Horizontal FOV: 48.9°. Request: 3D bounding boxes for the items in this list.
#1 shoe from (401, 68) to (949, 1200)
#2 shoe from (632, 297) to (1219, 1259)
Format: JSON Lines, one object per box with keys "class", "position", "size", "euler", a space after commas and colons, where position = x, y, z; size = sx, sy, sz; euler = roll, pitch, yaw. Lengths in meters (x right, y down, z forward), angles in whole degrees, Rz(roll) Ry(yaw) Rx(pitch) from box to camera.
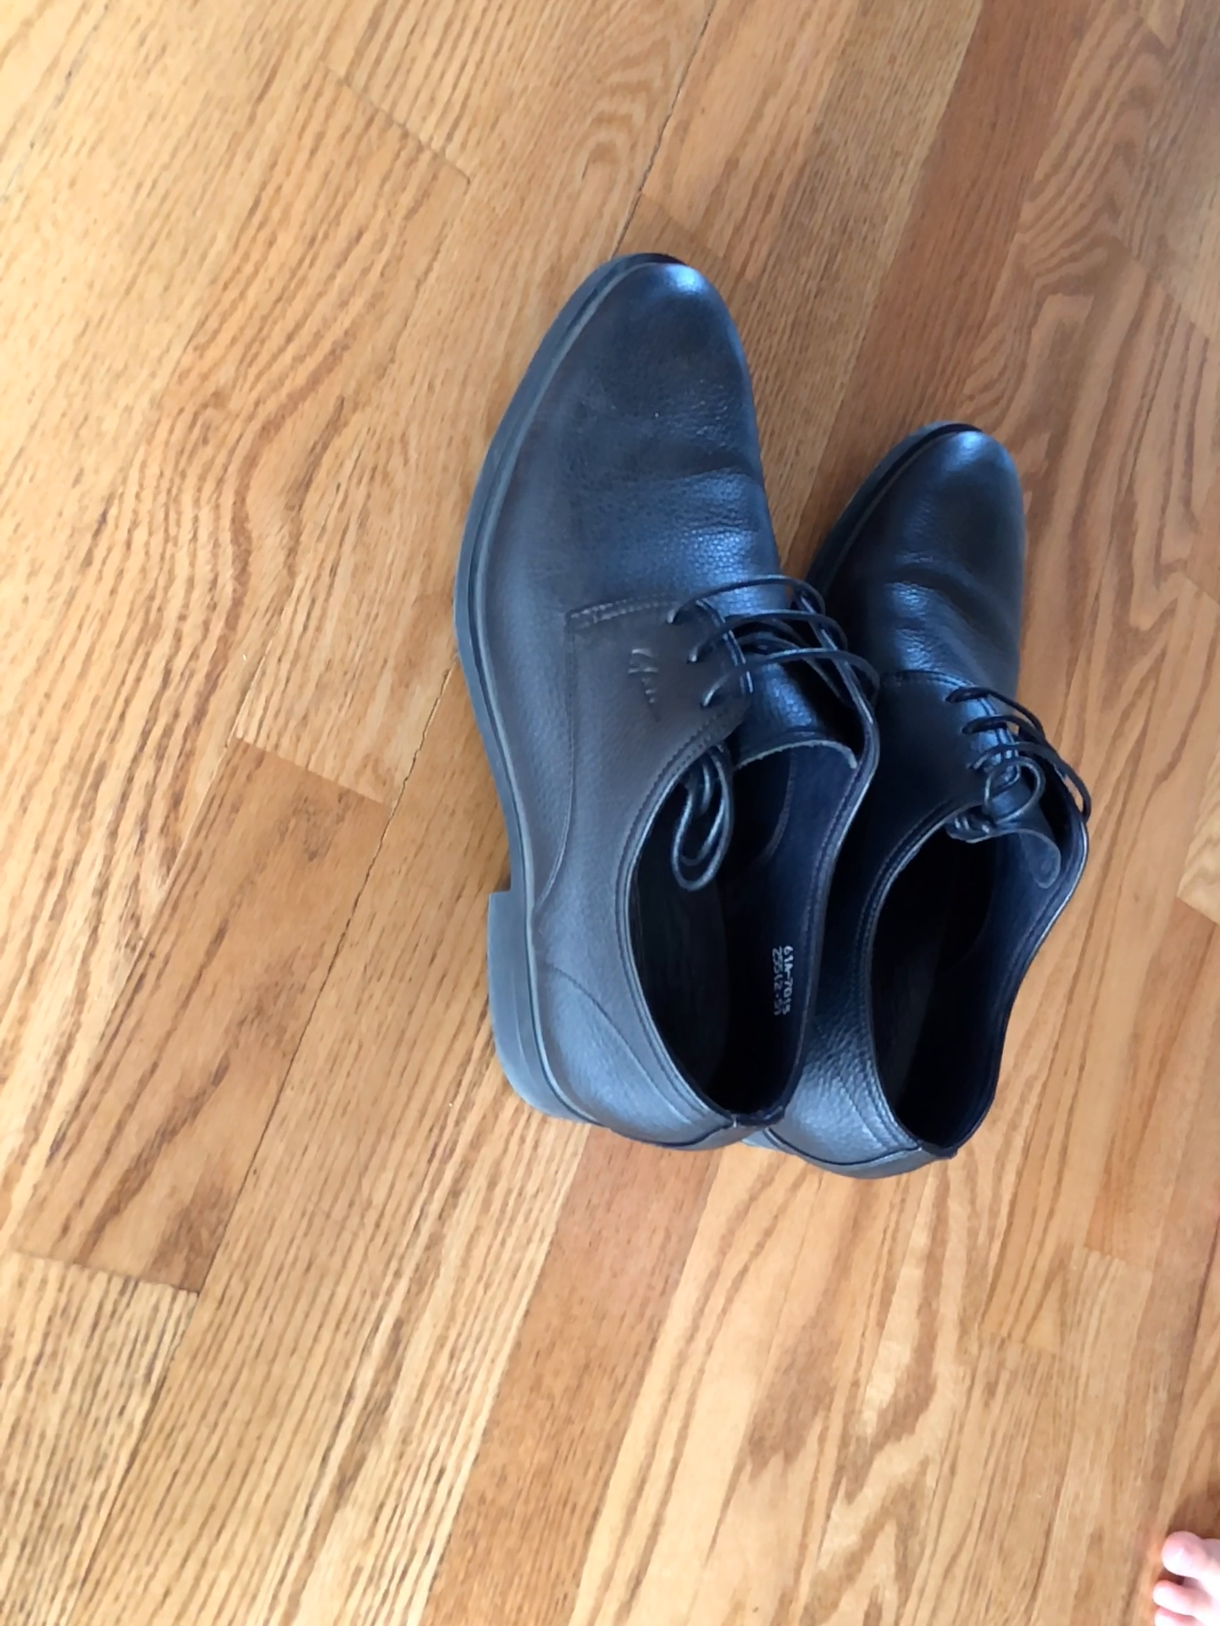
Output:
{"class": "shoe", "position": [0.019, -0.045, 0.437], "size": [0.110, 0.124, 0.304], "euler": [6, 85, -33]}
{"class": "shoe", "position": [0.130, -0.012, 0.495], "size": [0.110, 0.124, 0.299], "euler": [26, 75, -30]}
